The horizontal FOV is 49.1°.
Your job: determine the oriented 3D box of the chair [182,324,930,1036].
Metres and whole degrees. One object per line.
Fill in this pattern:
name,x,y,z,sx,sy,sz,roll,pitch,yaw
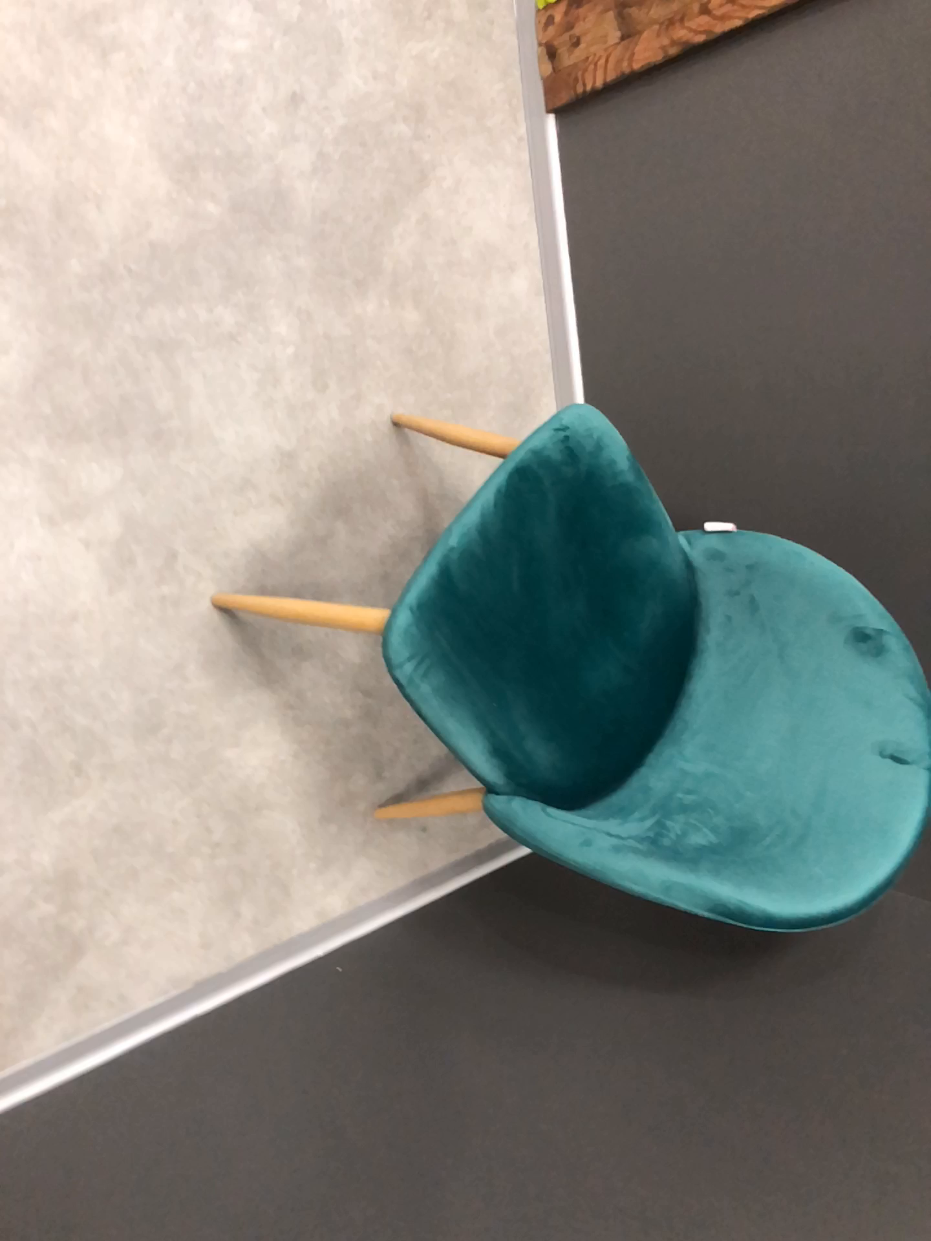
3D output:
chair,0.139,0.033,1.419,0.542,0.856,0.541,-50,122,-22
